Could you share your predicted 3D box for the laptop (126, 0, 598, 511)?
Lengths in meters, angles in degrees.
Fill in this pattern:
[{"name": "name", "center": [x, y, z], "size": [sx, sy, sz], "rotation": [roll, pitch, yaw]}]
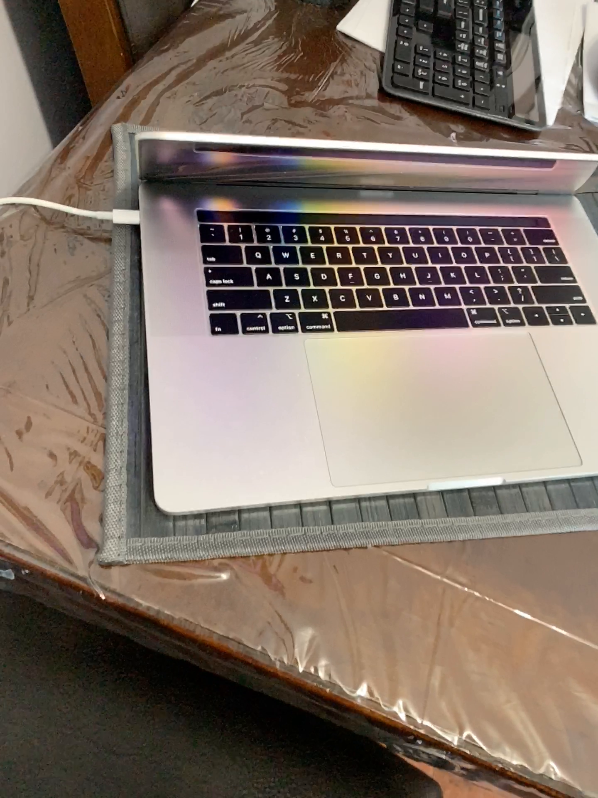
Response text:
[{"name": "laptop", "center": [0.089, -0.094, 0.336], "size": [0.342, 0.166, 0.233], "rotation": [-3, 62, -13]}]
